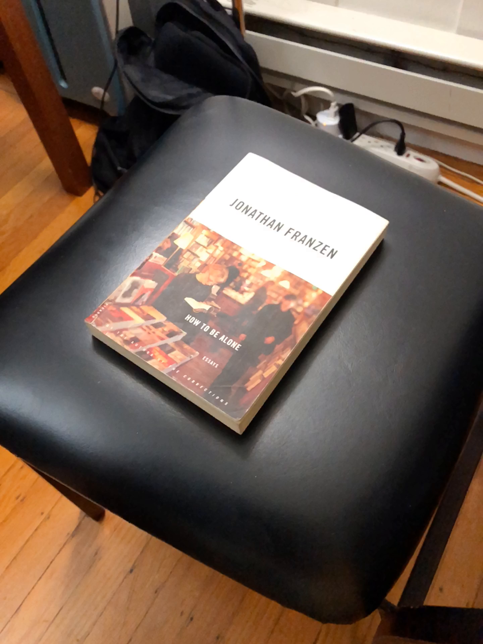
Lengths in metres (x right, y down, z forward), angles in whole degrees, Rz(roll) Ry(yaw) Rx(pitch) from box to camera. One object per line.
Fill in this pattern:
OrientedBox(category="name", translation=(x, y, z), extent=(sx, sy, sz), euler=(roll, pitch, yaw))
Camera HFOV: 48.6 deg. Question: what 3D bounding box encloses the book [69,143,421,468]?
OrientedBox(category="book", translation=(0.010, -0.031, 0.417), extent=(0.160, 0.040, 0.231), euler=(30, 64, 22))
